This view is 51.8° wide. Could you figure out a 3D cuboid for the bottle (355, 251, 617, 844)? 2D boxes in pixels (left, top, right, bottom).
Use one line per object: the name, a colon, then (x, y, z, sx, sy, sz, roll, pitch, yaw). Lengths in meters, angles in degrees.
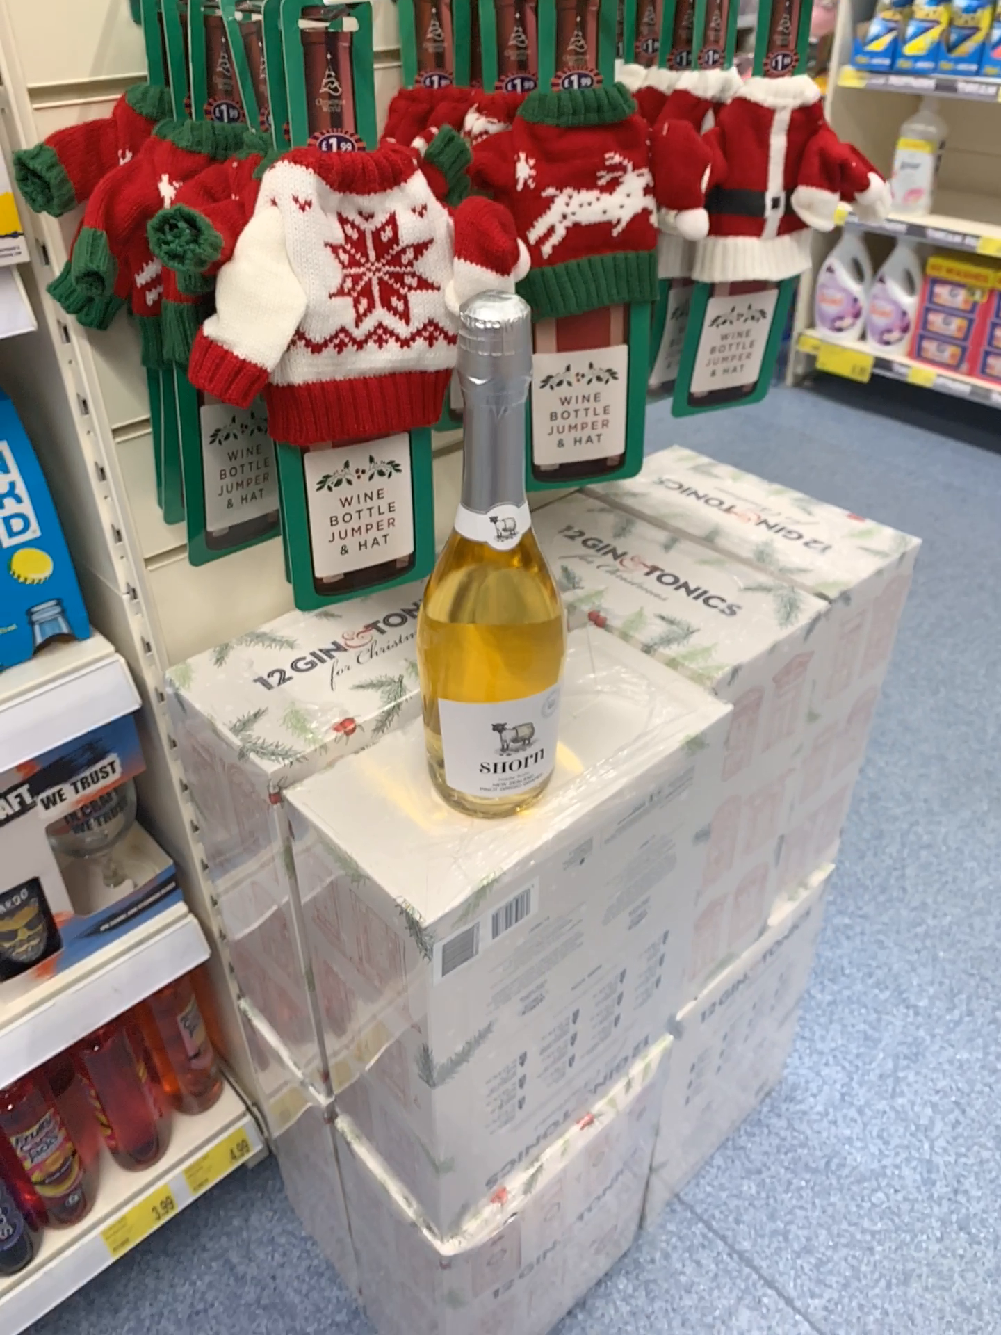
bottle: (-0.007, -0.055, 0.565, 0.094, 0.298, 0.095, -1, 35, 1)
